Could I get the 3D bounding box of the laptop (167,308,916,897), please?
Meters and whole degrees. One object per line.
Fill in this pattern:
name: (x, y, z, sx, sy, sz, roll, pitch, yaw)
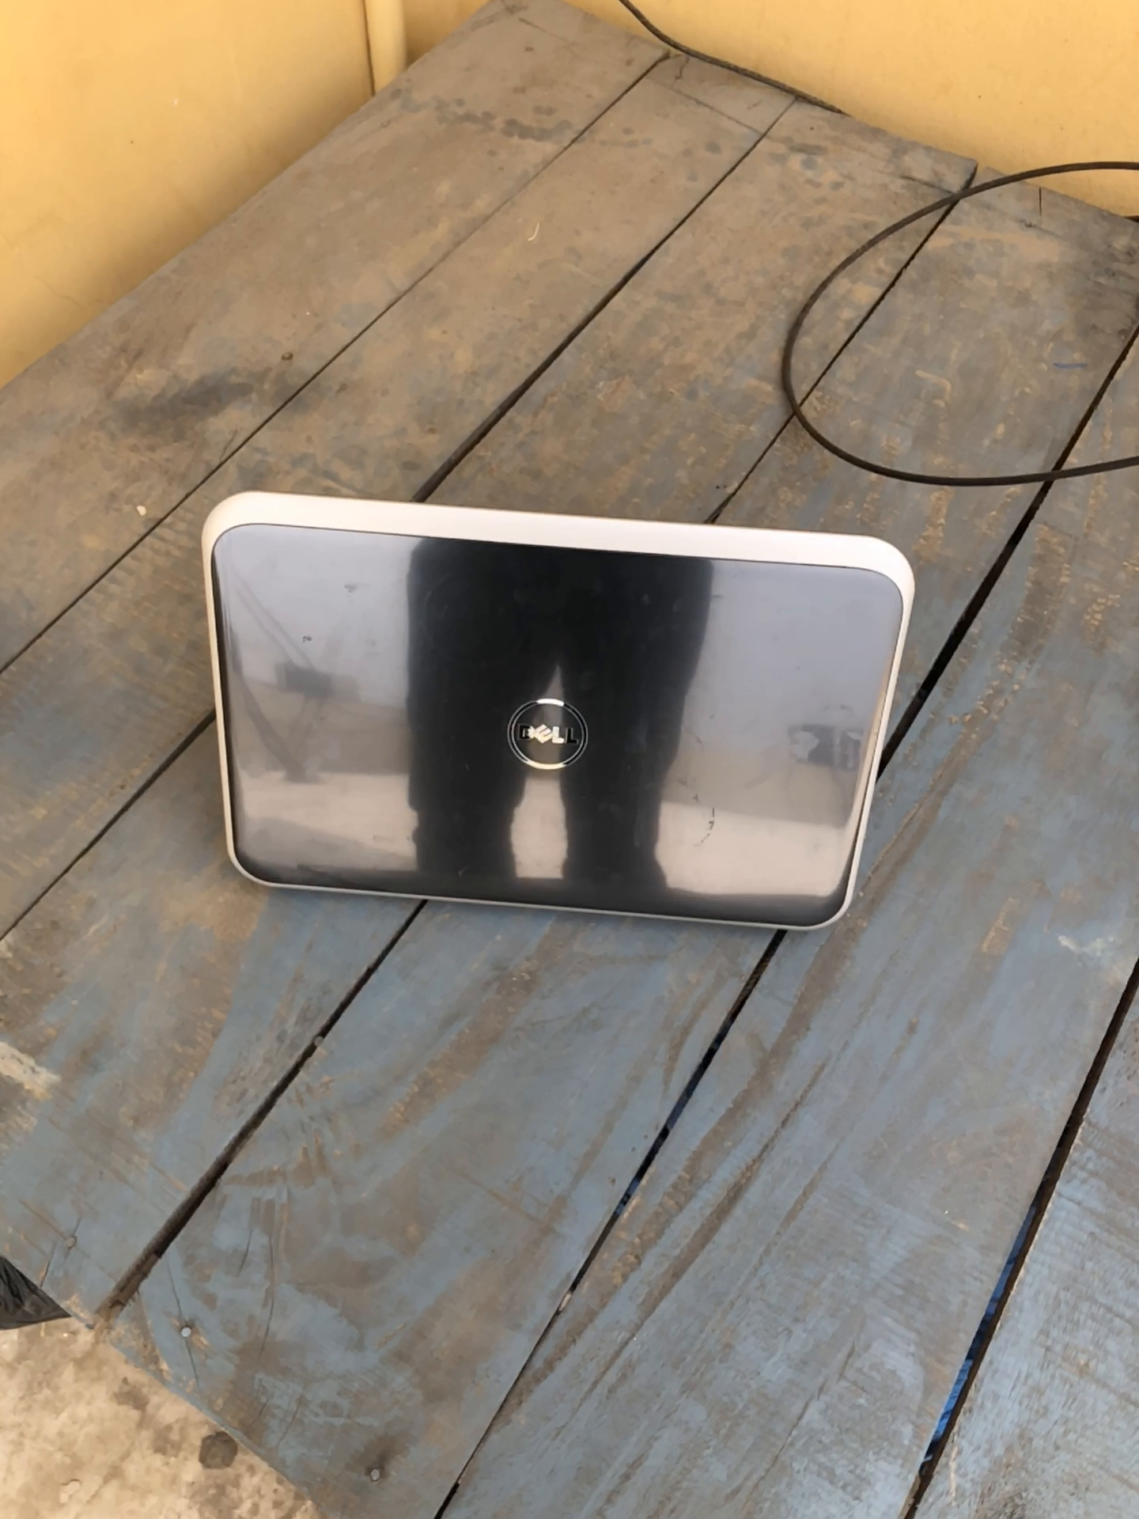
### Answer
laptop: (-0.004, -0.082, 0.717, 0.347, 0.206, 0.216, 5, 60, 2)
